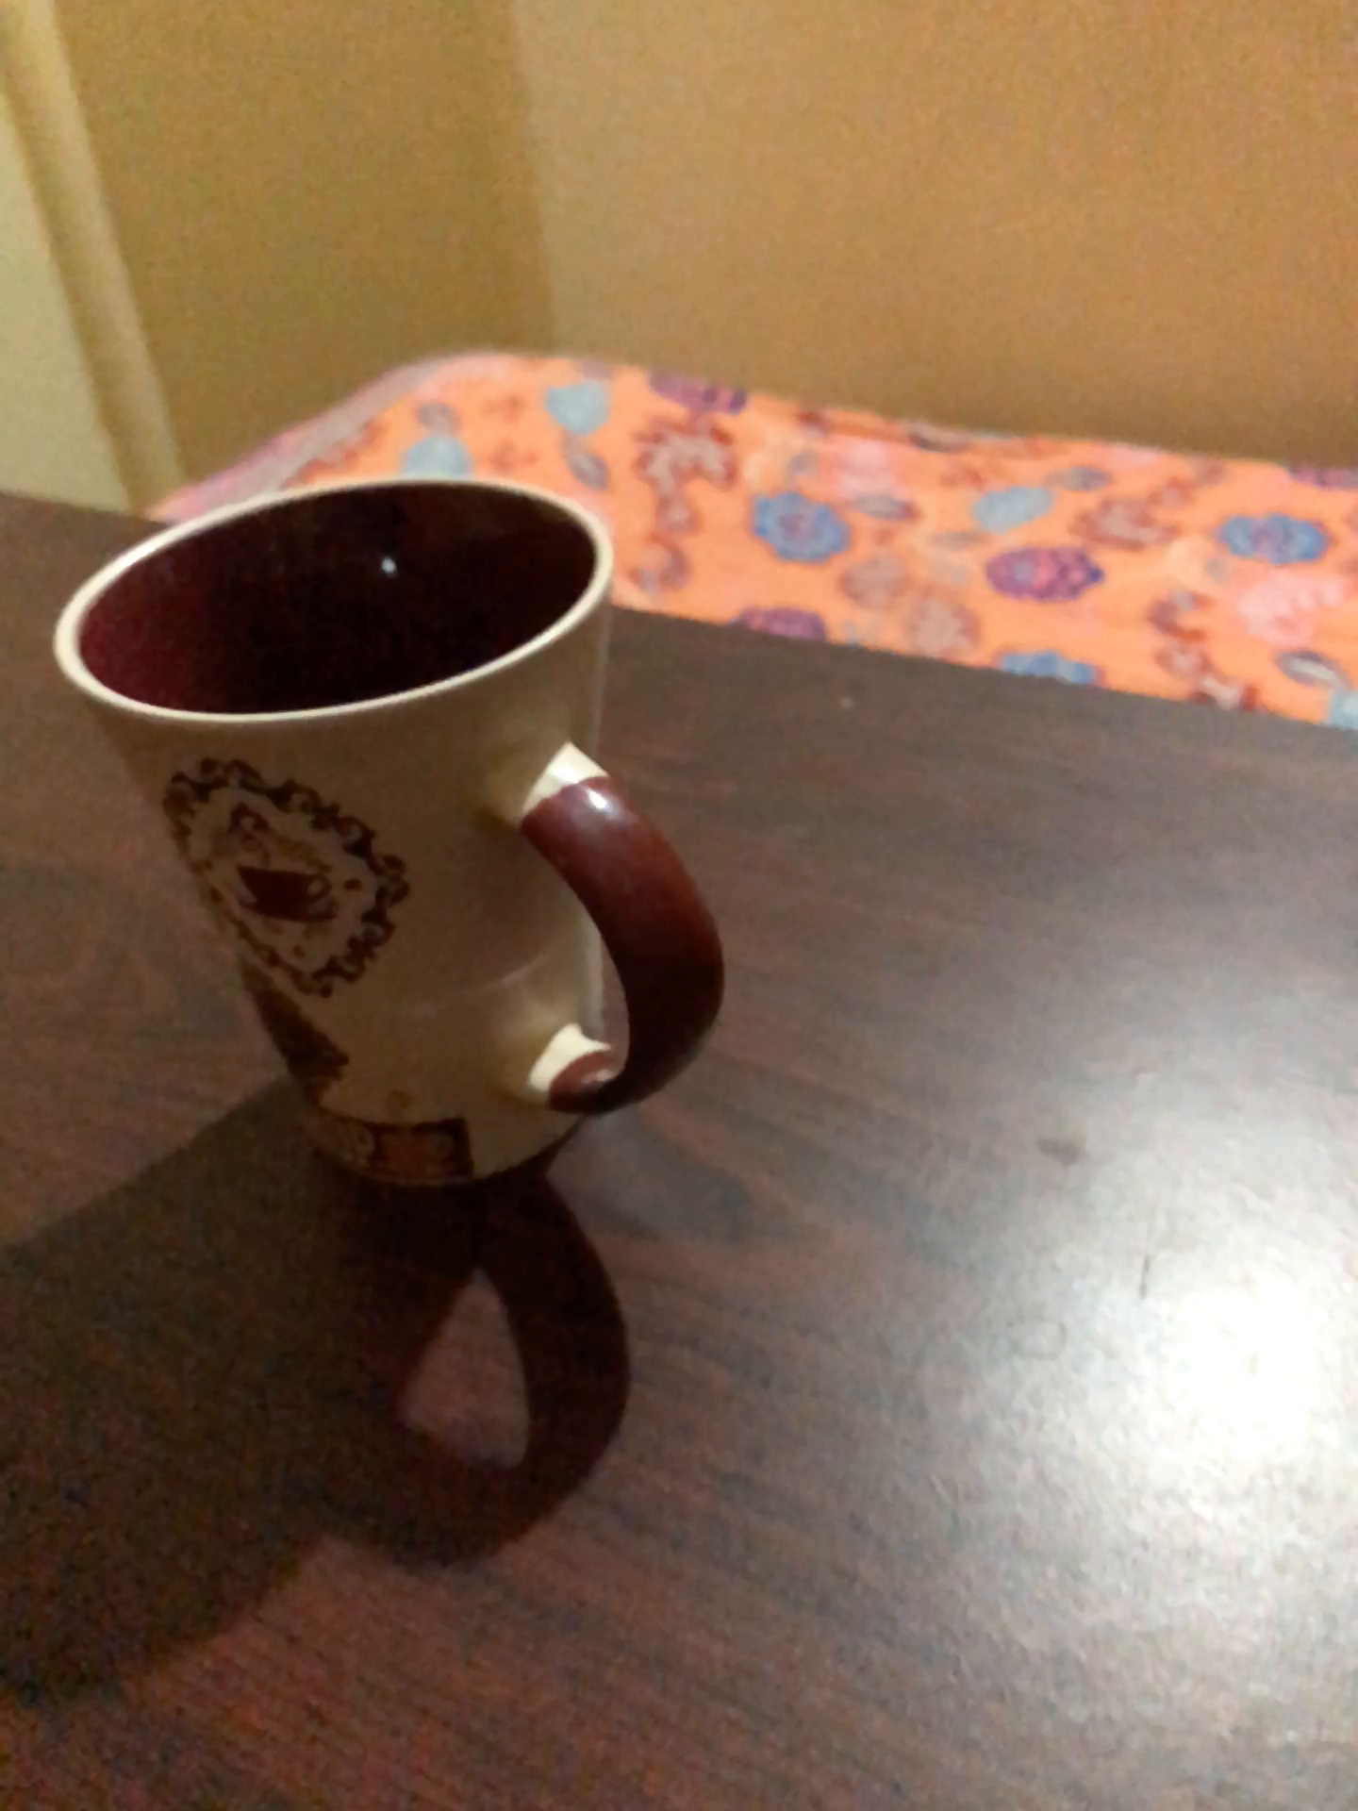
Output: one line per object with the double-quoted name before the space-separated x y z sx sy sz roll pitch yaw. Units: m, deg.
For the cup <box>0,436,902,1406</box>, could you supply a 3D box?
"cup" -0.039 -0.008 0.272 0.100 0.099 0.120 -30 42 -30
